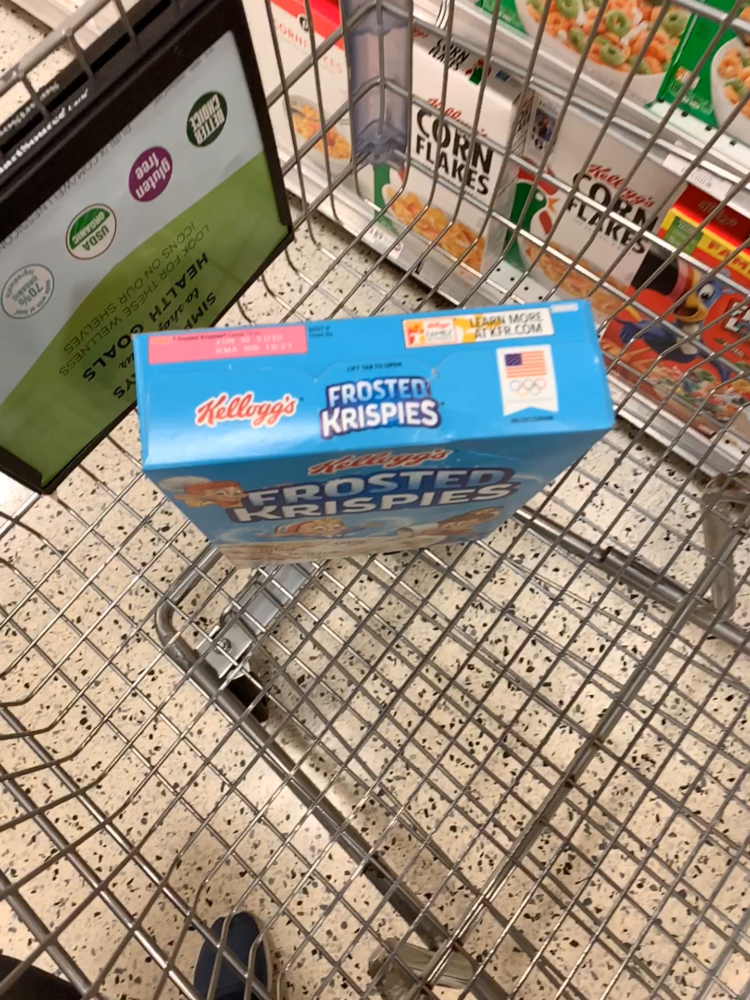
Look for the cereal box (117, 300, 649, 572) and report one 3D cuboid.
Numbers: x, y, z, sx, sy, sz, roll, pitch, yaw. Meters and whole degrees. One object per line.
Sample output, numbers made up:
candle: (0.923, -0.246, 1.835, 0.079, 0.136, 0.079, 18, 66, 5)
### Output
cereal box: (0.000, -0.012, 0.451, 0.200, 0.319, 0.060, -5, 79, -2)
